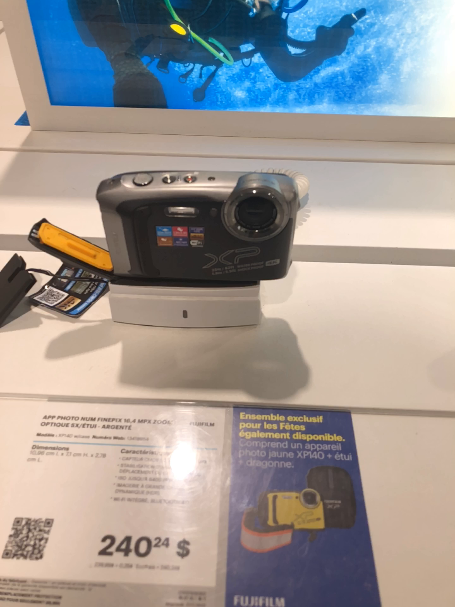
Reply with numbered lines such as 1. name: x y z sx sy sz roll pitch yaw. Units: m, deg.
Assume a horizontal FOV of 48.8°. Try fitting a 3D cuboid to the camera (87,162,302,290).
1. camera: -0.016 -0.041 0.279 0.106 0.069 0.023 0 43 0
